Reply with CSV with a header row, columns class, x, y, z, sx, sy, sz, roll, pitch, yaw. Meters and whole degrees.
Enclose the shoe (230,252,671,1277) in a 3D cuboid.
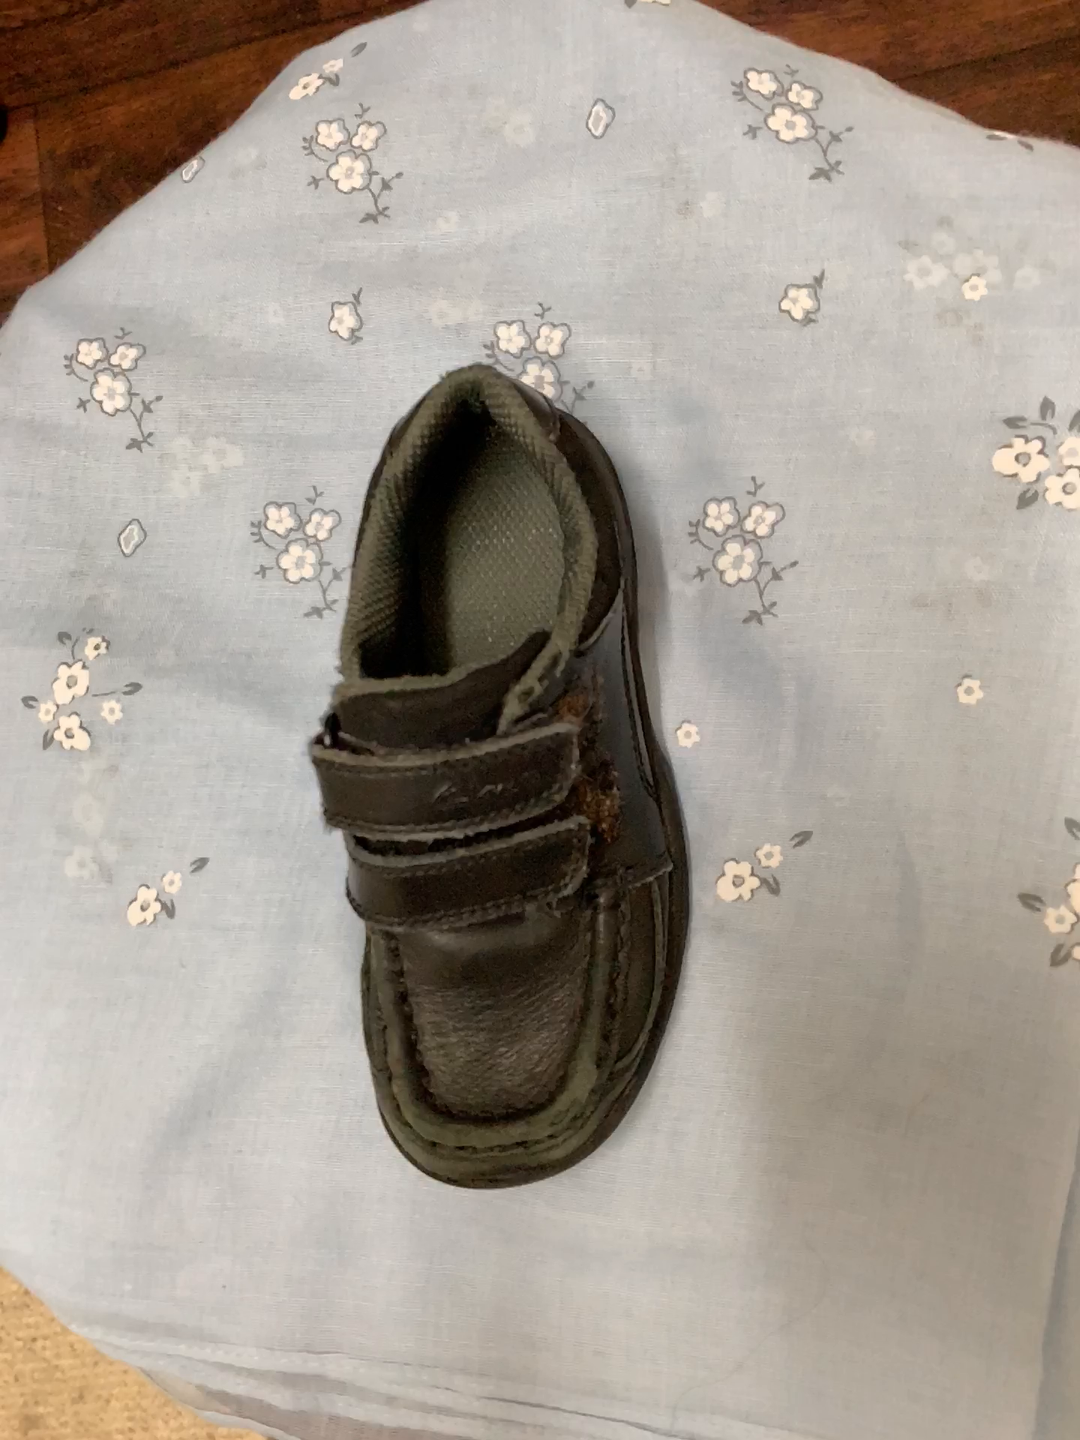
class,x,y,z,sx,sy,sz,roll,pitch,yaw
shoe,-0.014,0.008,0.247,0.078,0.073,0.190,-1,84,10
